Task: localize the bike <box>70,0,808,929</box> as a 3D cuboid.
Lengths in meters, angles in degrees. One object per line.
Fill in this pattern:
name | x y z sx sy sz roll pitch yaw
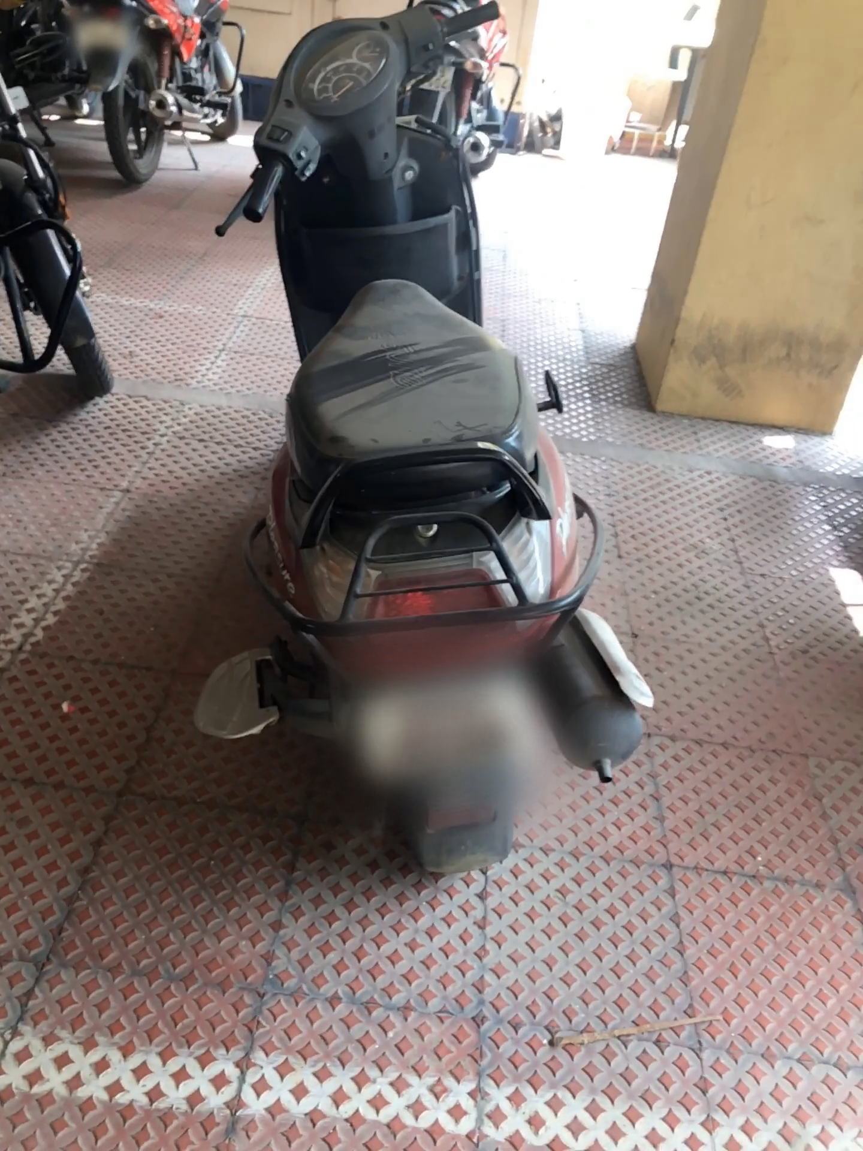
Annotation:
bike | -0.198 -0.408 1.712 0.599 1.030 1.659 -1 35 -13
